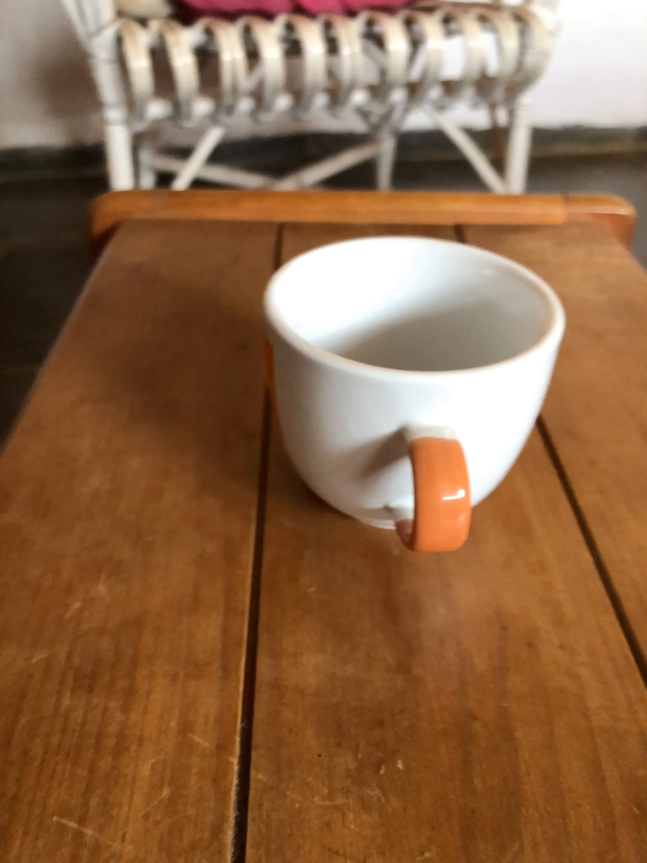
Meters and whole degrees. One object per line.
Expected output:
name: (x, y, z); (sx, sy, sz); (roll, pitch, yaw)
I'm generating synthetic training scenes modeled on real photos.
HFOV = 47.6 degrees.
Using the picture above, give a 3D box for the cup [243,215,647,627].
cup: (0.025, -0.011, 0.208); (0.090, 0.060, 0.111); (-2, 38, -4)
